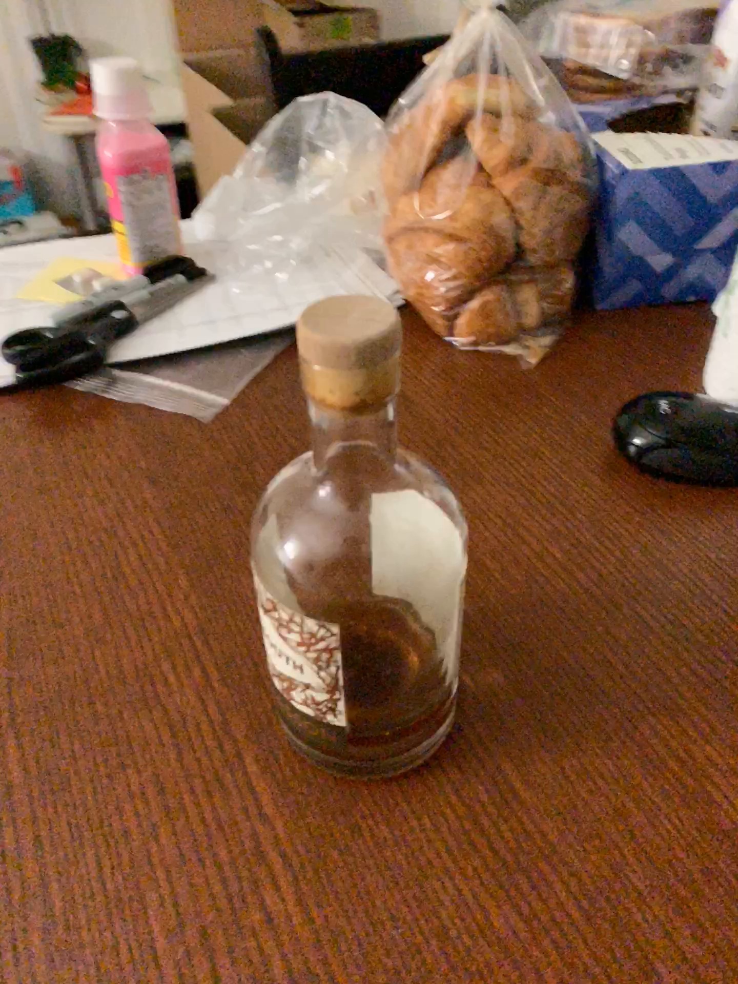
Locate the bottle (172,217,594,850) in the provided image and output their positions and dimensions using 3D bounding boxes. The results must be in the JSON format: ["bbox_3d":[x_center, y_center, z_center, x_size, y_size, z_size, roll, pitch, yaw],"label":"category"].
[{"bbox_3d":[0.001,0.021,0.263,0.080,0.189,0.090,-19,43,-20],"label":"bottle"}]
